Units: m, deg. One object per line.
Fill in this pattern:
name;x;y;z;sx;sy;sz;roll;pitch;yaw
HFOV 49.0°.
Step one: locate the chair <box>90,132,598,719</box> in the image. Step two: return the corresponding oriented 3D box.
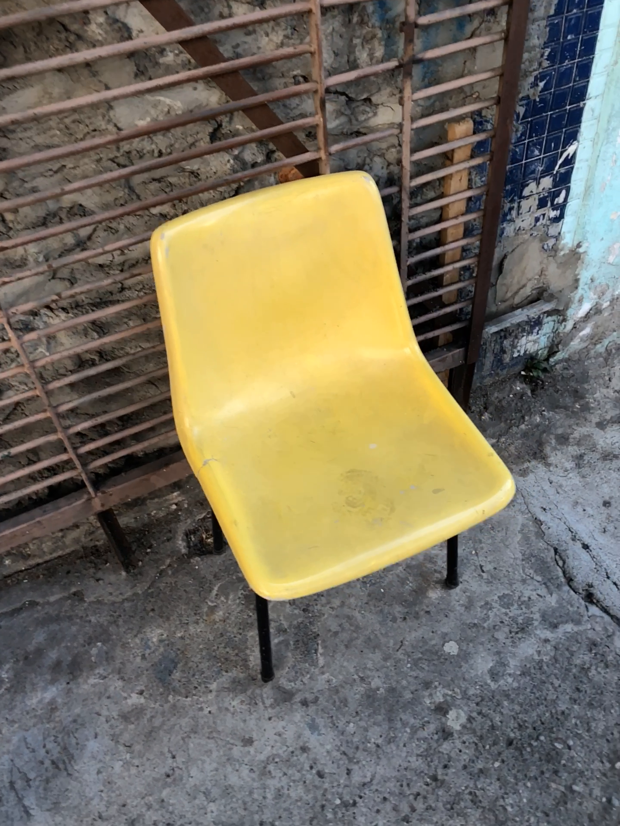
chair;0.035;0.041;1.109;0.480;0.715;0.473;-21;48;-13
